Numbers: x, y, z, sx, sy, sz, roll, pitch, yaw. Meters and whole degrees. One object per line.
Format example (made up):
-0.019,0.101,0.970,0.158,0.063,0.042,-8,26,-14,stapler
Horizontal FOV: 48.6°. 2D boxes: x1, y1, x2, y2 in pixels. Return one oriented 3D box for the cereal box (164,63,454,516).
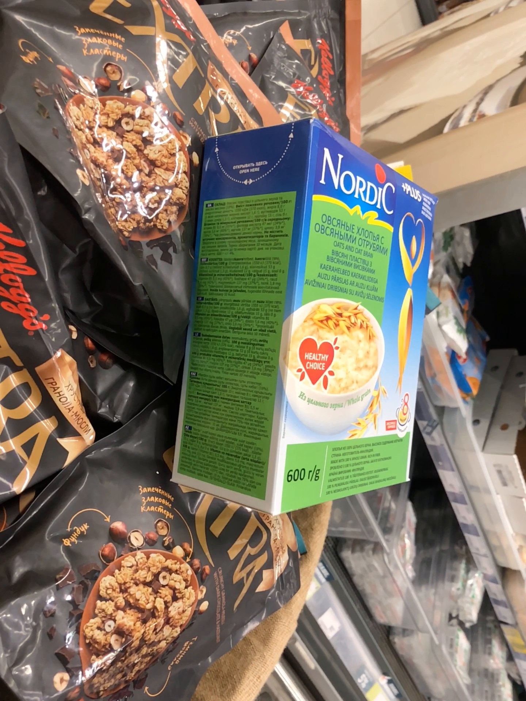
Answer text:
0.037,-0.027,0.356,0.161,0.080,0.210,4,91,-50,cereal box
